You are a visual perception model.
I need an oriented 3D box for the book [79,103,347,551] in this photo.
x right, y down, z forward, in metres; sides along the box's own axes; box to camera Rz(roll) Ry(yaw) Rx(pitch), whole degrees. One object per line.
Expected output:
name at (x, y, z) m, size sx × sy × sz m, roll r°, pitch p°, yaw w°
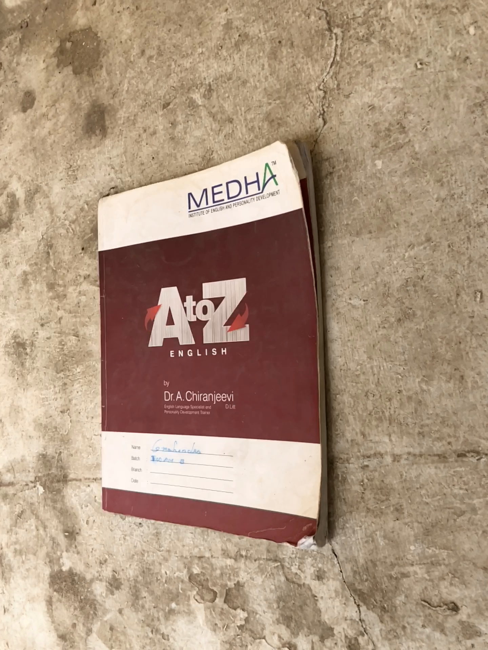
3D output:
book at (-0.037, 0.004, 0.408) m, size 0.221 × 0.030 × 0.280 m, roll -5°, pitch 83°, yaw 33°
